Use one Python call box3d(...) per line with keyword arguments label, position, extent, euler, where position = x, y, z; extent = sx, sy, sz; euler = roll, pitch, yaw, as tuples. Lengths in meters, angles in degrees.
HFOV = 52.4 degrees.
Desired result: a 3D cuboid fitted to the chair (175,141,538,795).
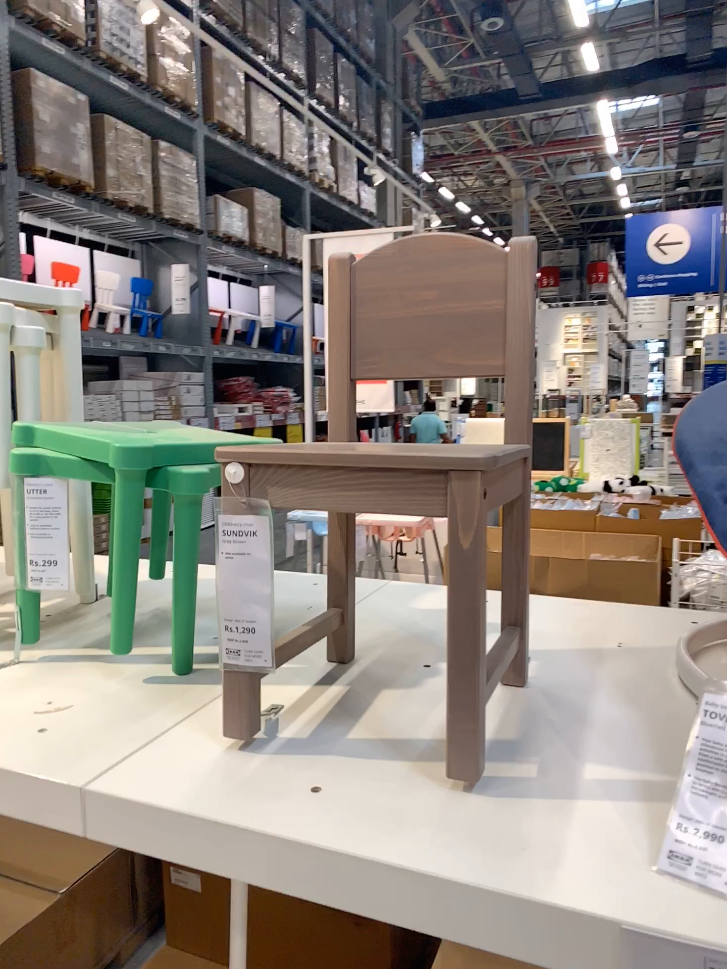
box3d(label="chair", position=(0.021, -0.024, 0.782), extent=(0.270, 0.519, 0.320), euler=(2, 7, 21))
